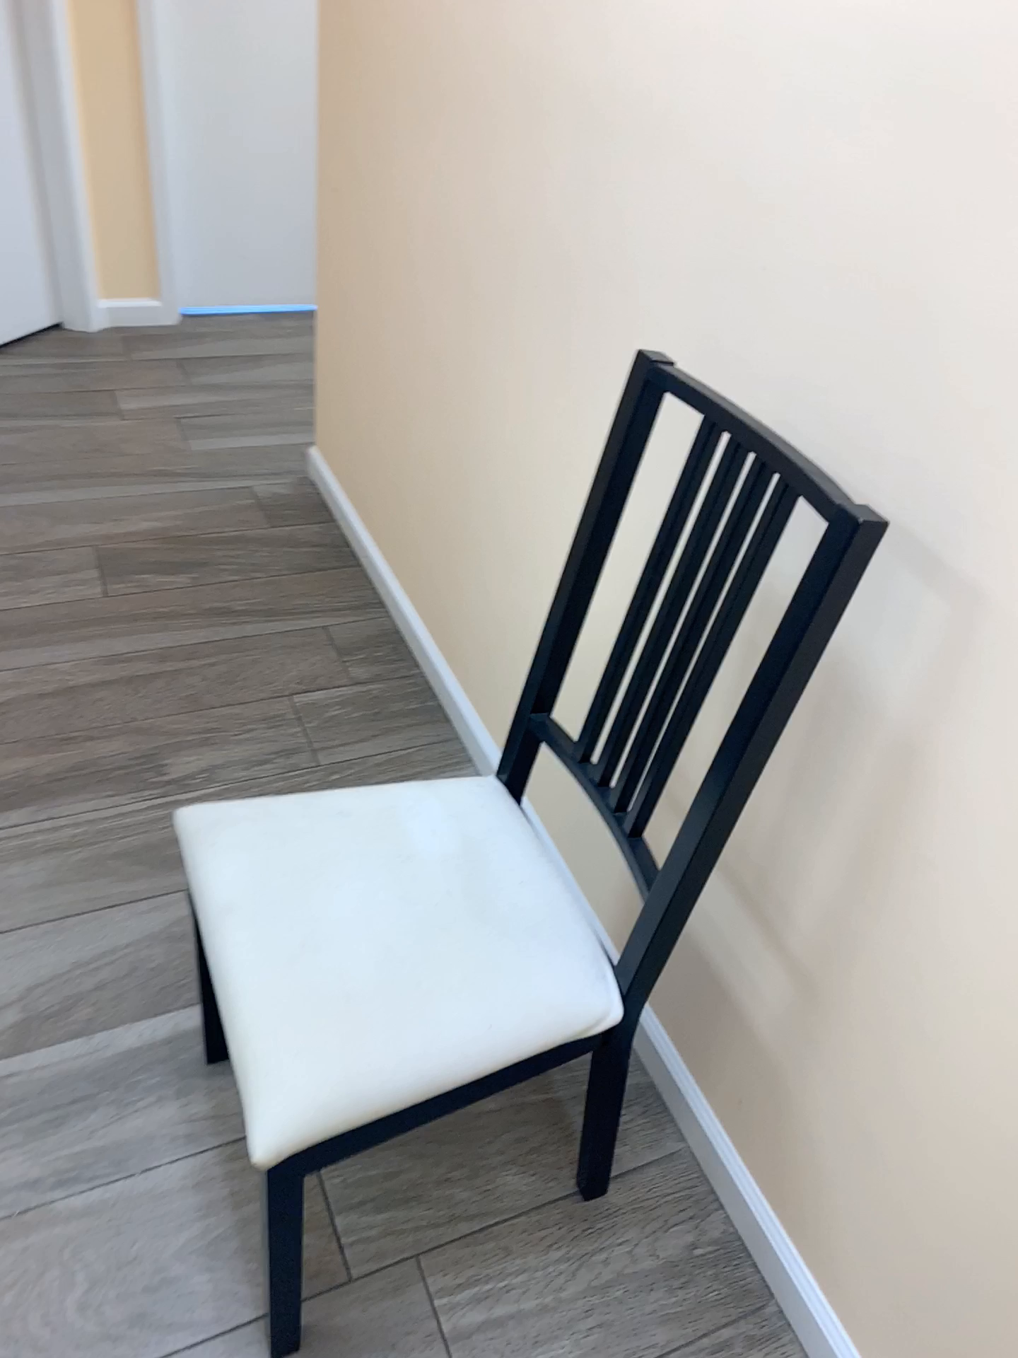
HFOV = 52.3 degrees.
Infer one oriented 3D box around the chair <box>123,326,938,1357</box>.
[{"bbox_3d":[-0.063,0.193,1.087,0.498,0.962,0.440,-10,40,-23],"label":"chair"}]
